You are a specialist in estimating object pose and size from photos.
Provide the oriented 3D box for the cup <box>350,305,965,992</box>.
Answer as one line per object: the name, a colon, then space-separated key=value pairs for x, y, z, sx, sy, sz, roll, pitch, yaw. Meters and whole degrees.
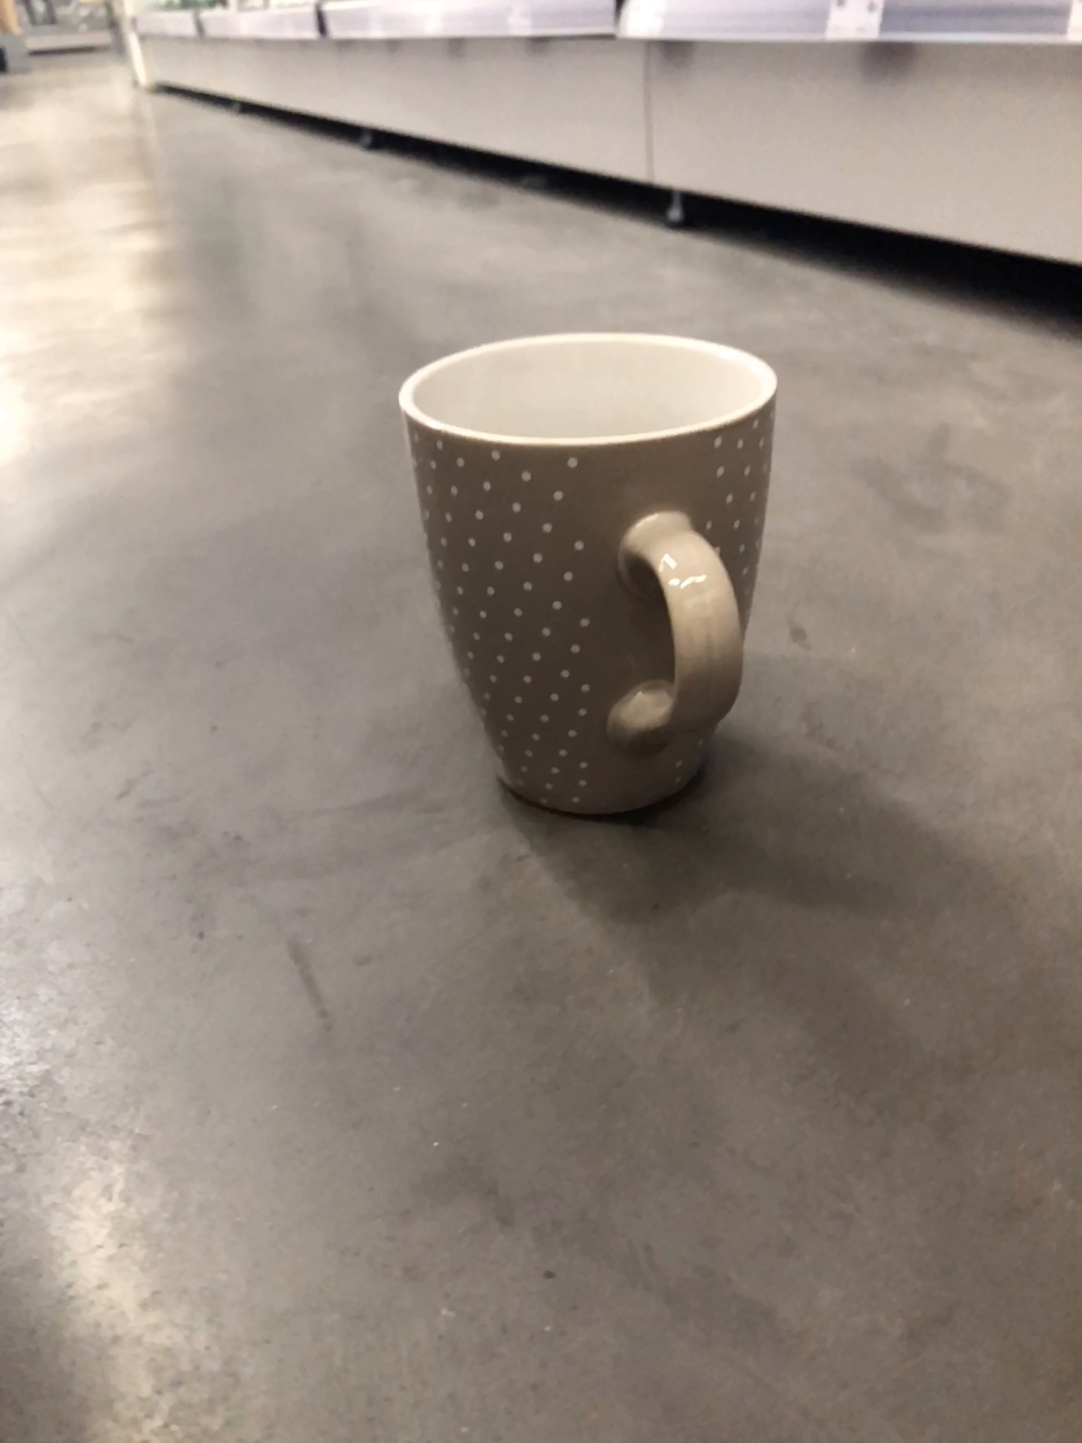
cup: x=0.017 y=-0.031 z=0.301 sx=0.091 sy=0.107 sz=0.142 roll=-12 pitch=31 yaw=-14
